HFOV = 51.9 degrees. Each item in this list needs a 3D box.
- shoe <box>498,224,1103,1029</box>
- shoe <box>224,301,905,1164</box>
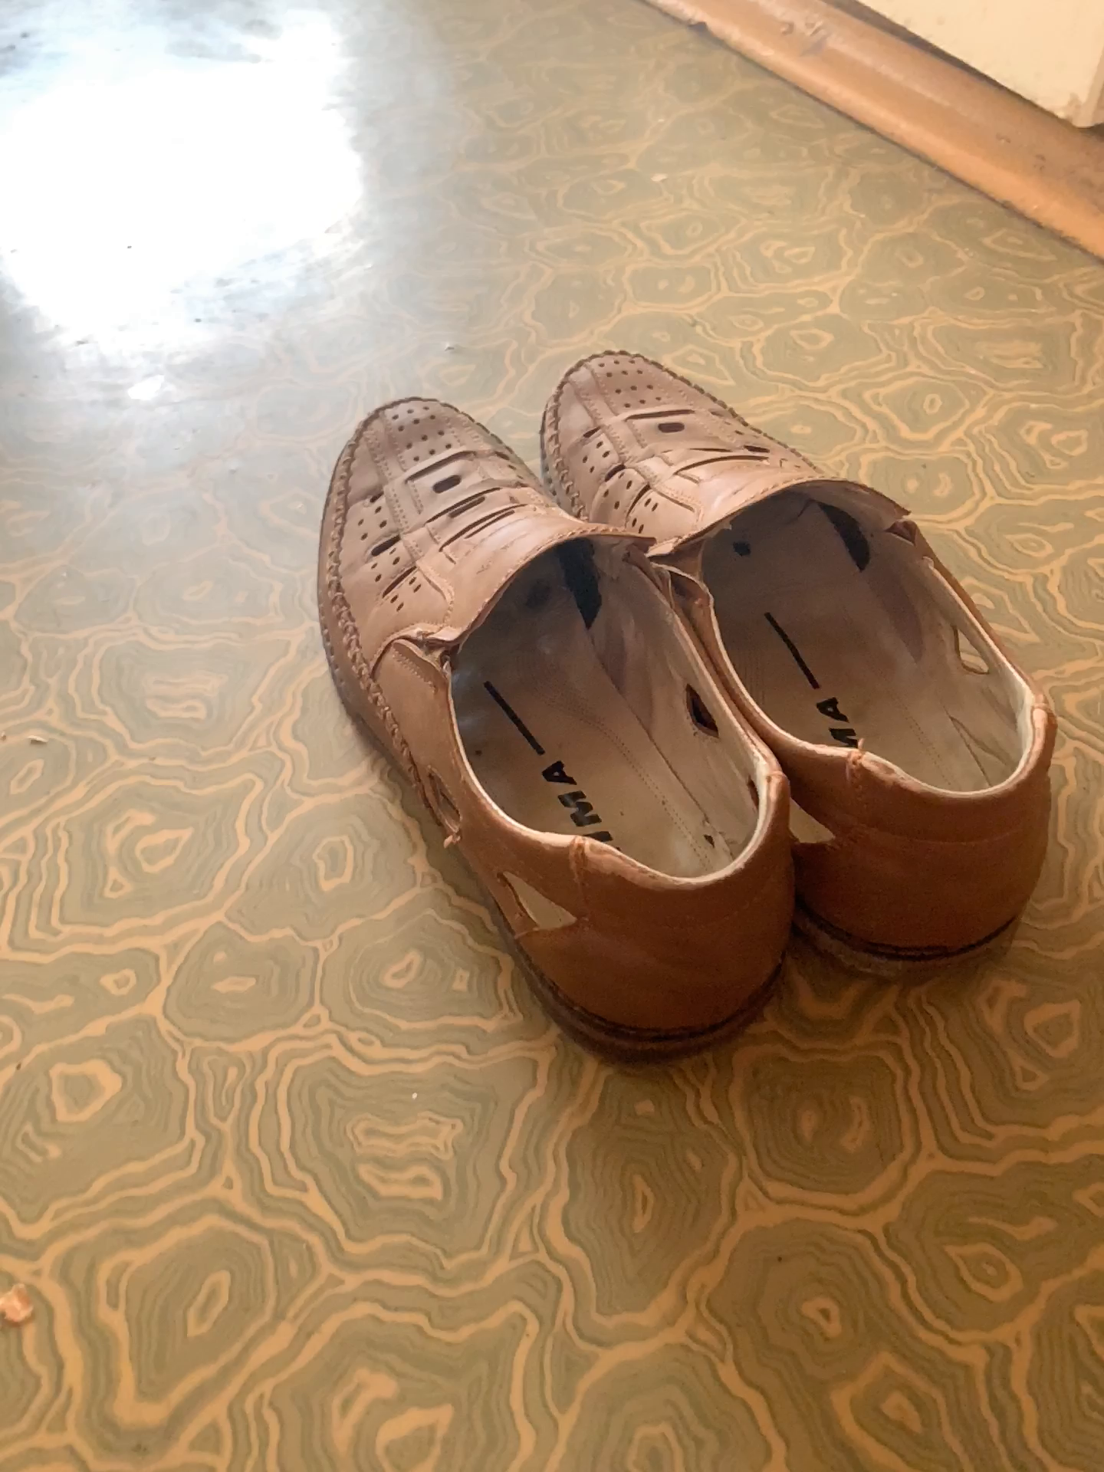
[{"bbox_3d":[0.081,-0.062,0.392,0.110,0.079,0.292,-16,52,-12],"label":"shoe"},{"bbox_3d":[-0.018,-0.027,0.378,0.100,0.079,0.292,-19,53,-14],"label":"shoe"}]
